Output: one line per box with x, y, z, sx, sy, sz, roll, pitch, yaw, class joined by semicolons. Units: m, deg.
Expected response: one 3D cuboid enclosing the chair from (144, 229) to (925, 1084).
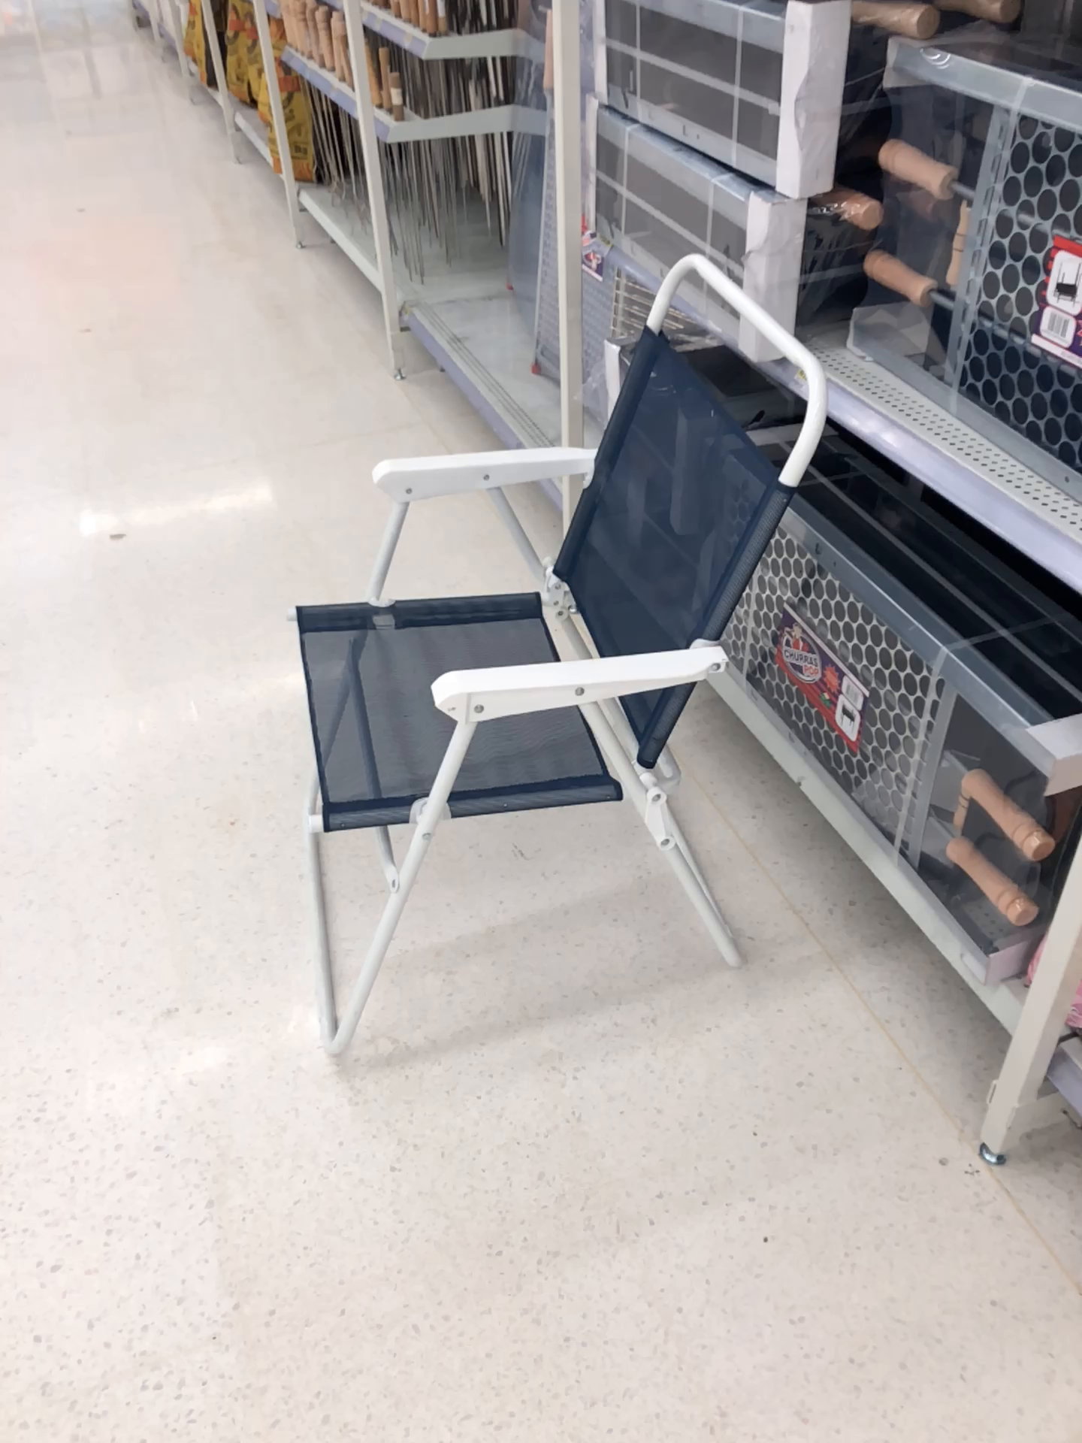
-0.032;-0.088;1.399;0.650;0.735;0.544;-10;39;-8;chair
